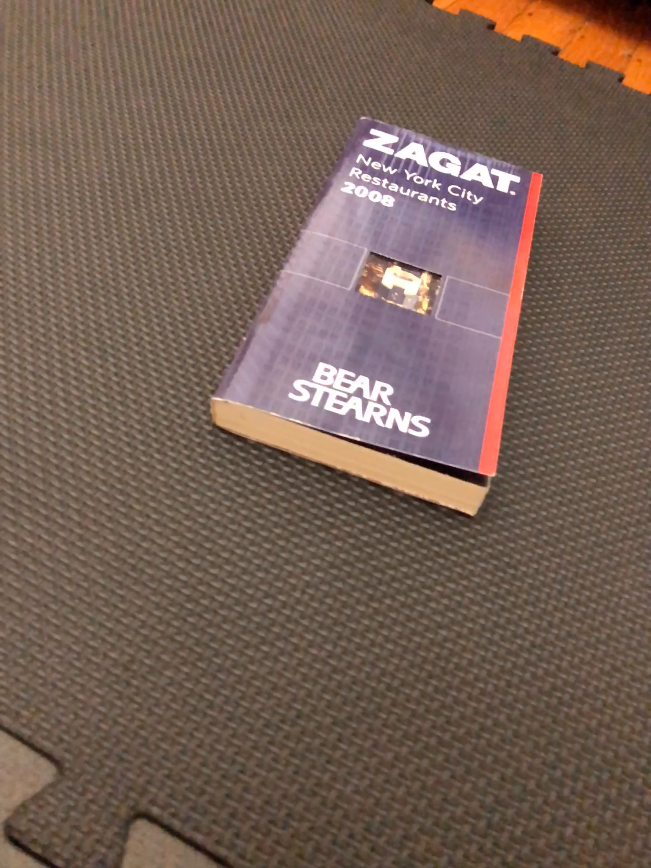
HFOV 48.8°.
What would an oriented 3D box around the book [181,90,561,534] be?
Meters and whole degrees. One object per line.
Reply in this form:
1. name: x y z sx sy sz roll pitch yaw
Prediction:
1. book: 0.035 -0.073 0.325 0.120 0.030 0.221 19 52 1
